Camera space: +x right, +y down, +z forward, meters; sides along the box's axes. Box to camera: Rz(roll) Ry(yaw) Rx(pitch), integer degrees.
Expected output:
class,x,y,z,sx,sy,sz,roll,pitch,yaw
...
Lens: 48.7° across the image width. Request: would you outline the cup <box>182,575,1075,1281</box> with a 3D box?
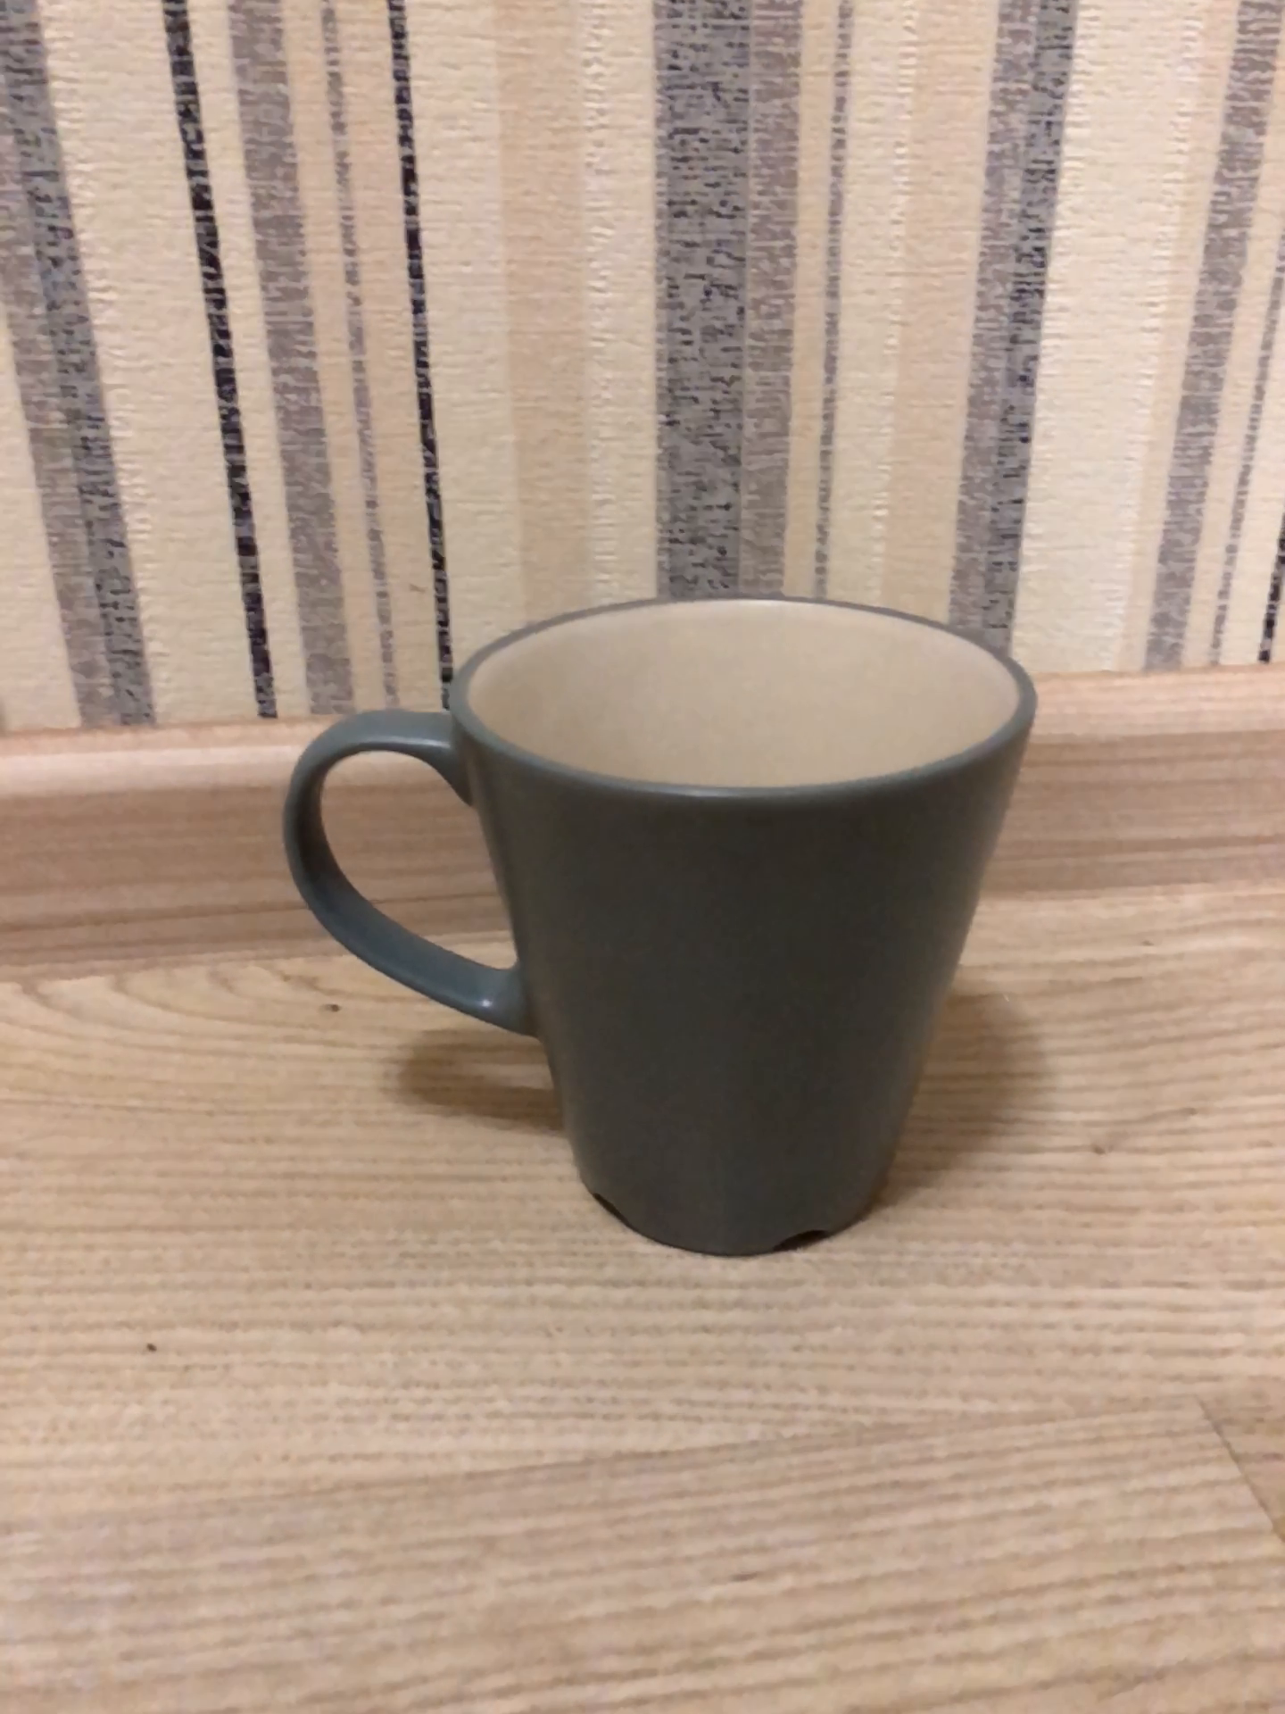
class,x,y,z,sx,sy,sz,roll,pitch,yaw
cup,0.001,0.005,0.258,0.124,0.089,0.096,2,25,5
